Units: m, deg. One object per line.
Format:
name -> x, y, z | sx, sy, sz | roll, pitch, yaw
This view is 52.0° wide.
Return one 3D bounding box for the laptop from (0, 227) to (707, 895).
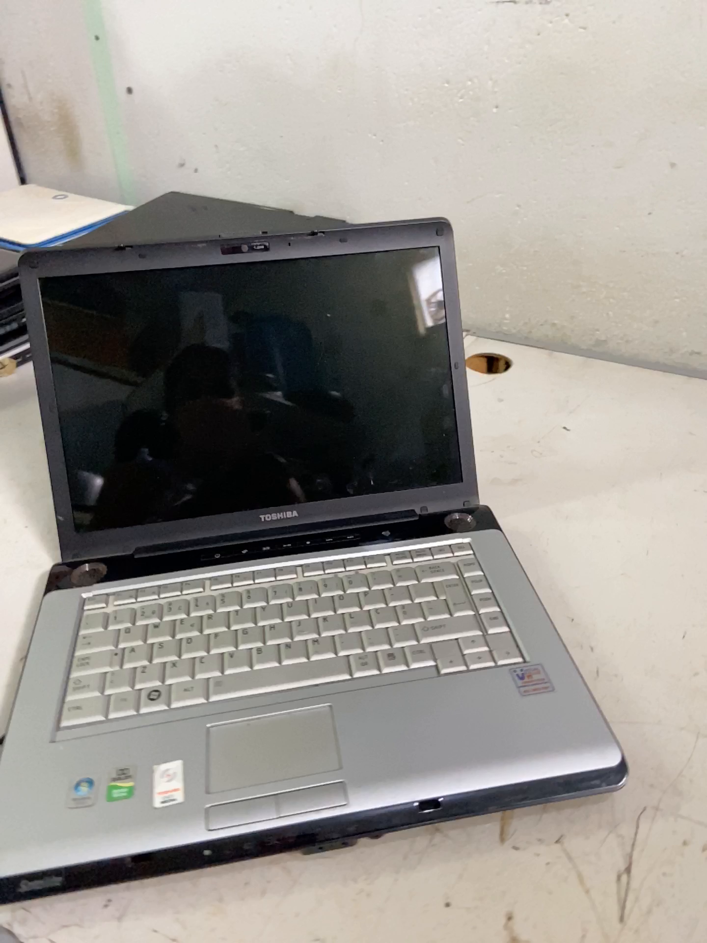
laptop -> -0.057, 0.003, 0.492 | 0.350, 0.200, 0.395 | -7, 35, -7
